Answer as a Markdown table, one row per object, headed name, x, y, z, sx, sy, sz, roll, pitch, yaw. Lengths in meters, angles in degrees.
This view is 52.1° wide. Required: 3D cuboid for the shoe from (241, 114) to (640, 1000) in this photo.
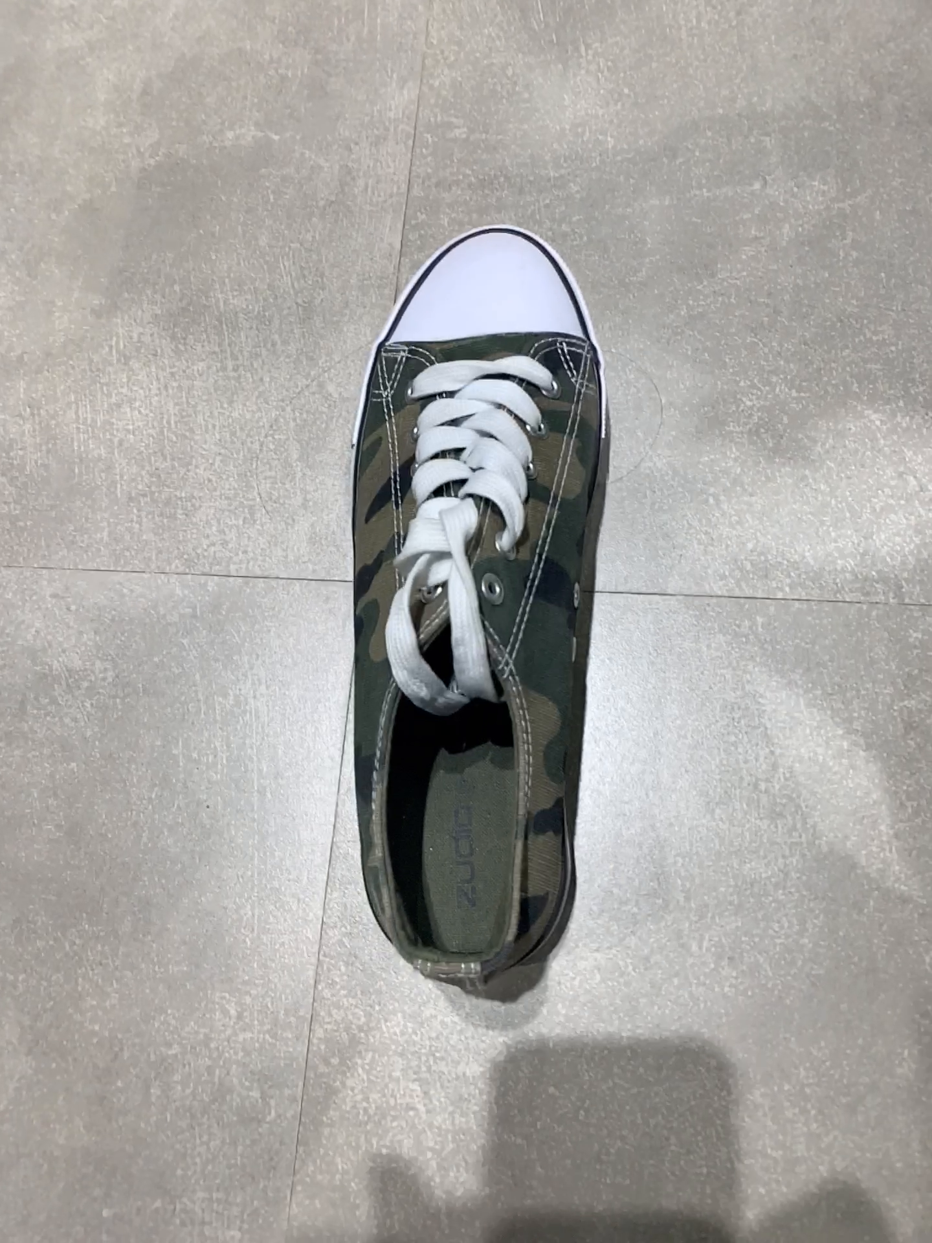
| name | x | y | z | sx | sy | sz | roll | pitch | yaw |
| --- | --- | --- | --- | --- | --- | --- | --- | --- | --- |
| shoe | 0.001 | -0.025 | 0.311 | 0.099 | 0.079 | 0.266 | 0 | 73 | 6 |
